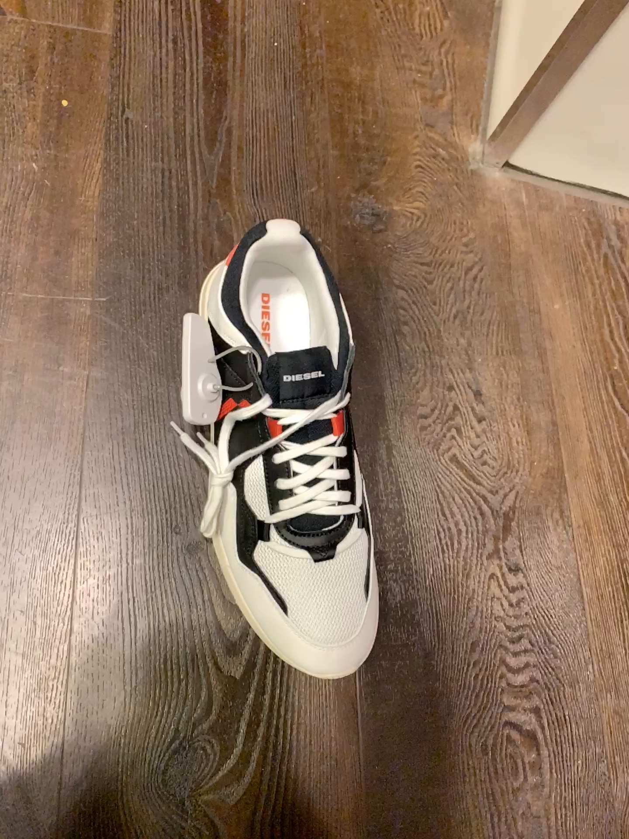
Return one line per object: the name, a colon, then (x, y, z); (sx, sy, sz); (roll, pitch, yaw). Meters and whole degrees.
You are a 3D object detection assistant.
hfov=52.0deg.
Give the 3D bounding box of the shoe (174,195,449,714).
shoe: (-0.018, 0.014, 0.428); (0.110, 0.110, 0.301); (-6, 75, -16)
